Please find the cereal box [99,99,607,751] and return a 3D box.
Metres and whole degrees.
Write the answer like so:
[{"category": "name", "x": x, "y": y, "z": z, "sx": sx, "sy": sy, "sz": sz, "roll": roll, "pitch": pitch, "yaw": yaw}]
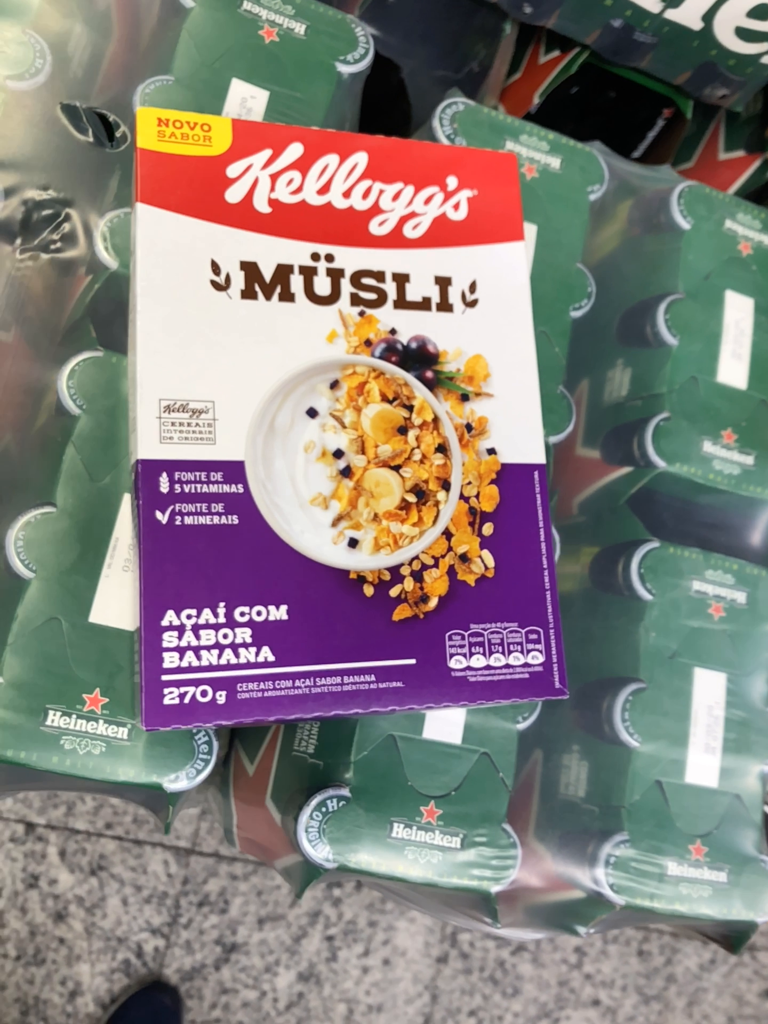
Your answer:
[{"category": "cereal box", "x": -0.013, "y": -0.028, "z": 0.282, "sx": 0.150, "sy": 0.040, "sz": 0.190, "roll": -1, "pitch": 80, "yaw": -17}]
